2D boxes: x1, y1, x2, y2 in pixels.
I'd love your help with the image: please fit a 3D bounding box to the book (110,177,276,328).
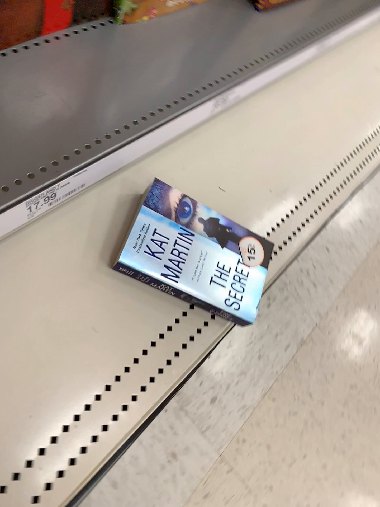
[{"bbox_3d":[0.009,0.003,0.442,0.164,0.040,0.105,26,65,-17],"label":"book"}]
